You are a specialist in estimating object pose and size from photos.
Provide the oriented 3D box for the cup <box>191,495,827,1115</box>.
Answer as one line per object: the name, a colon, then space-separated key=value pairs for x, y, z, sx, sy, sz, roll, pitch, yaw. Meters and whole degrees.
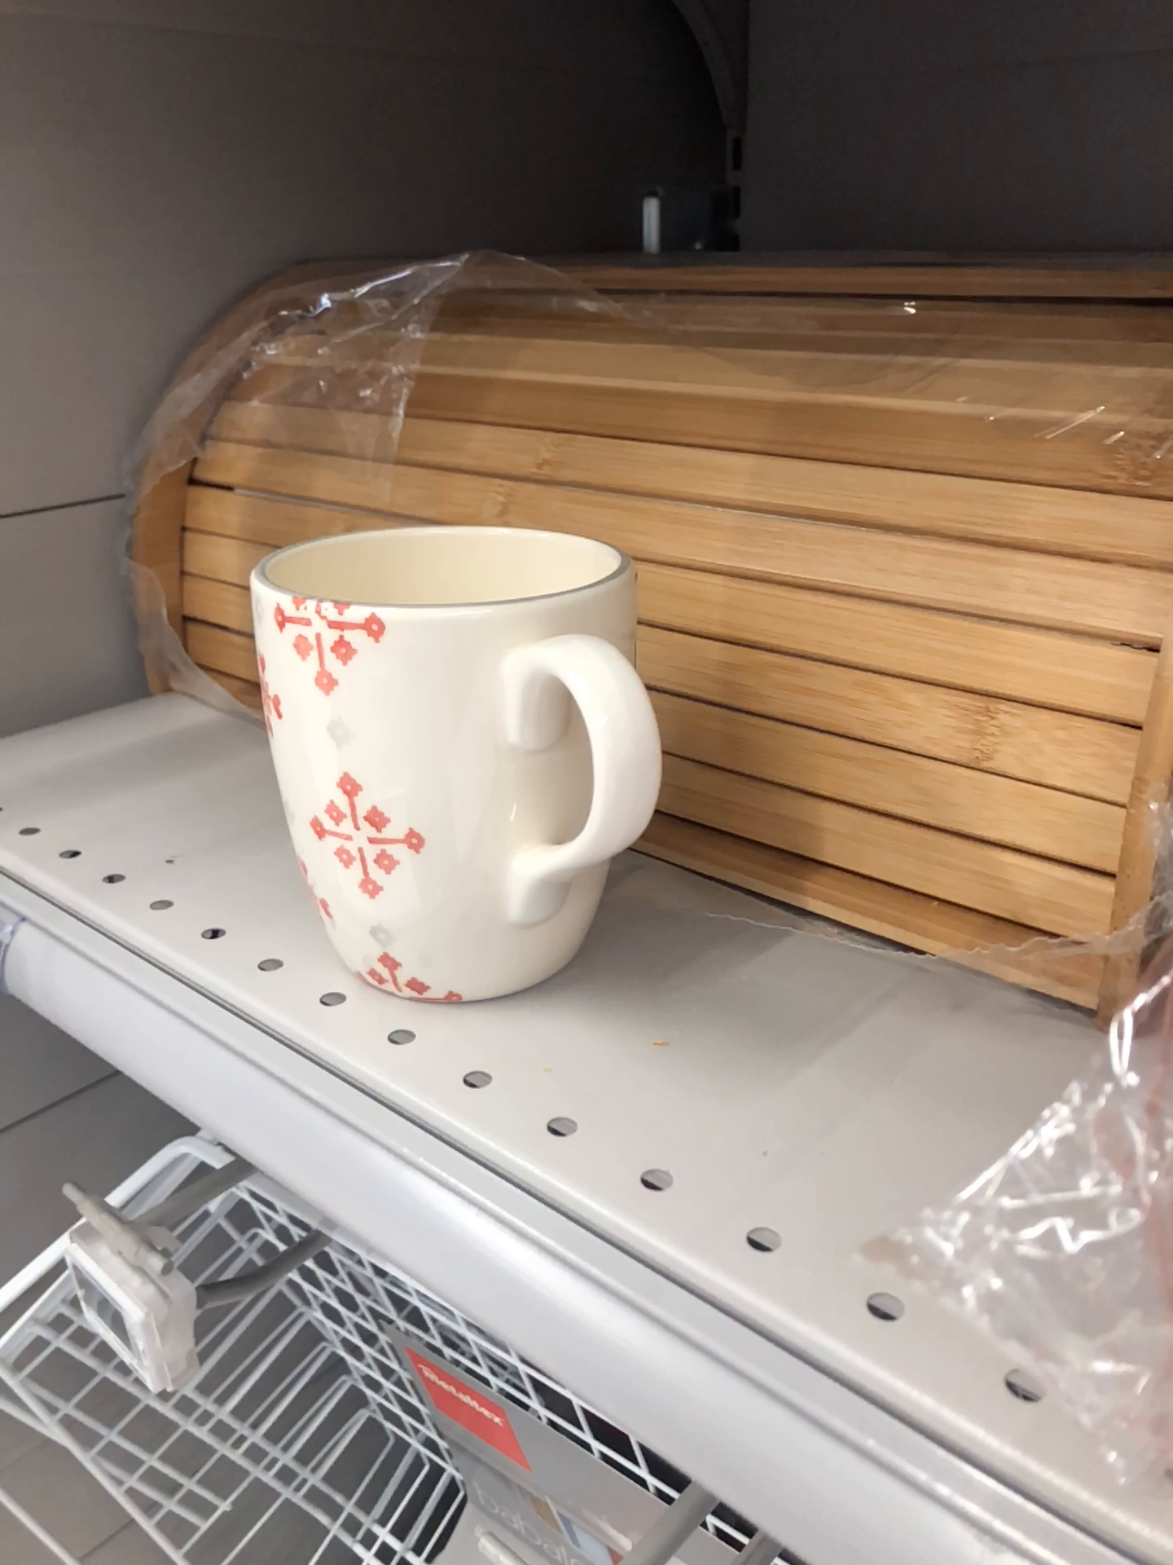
cup: x=-0.022 y=-0.008 z=0.303 sx=0.090 sy=0.089 sz=0.124 roll=-15 pitch=26 yaw=-30
